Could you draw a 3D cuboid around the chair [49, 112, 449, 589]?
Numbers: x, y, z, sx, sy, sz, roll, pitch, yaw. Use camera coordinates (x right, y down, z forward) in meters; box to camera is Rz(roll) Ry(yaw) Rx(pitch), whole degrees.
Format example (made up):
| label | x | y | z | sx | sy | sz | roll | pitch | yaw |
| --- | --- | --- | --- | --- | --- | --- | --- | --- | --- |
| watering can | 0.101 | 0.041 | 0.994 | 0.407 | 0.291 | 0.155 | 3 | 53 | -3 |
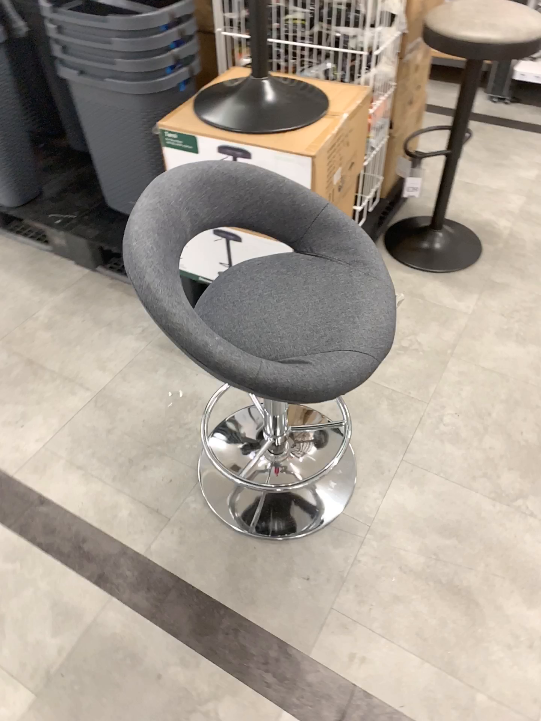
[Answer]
| label | x | y | z | sx | sy | sz | roll | pitch | yaw |
| --- | --- | --- | --- | --- | --- | --- | --- | --- | --- |
| chair | 0.004 | -0.006 | 1.219 | 0.486 | 0.788 | 0.550 | 18 | 49 | 18 |
